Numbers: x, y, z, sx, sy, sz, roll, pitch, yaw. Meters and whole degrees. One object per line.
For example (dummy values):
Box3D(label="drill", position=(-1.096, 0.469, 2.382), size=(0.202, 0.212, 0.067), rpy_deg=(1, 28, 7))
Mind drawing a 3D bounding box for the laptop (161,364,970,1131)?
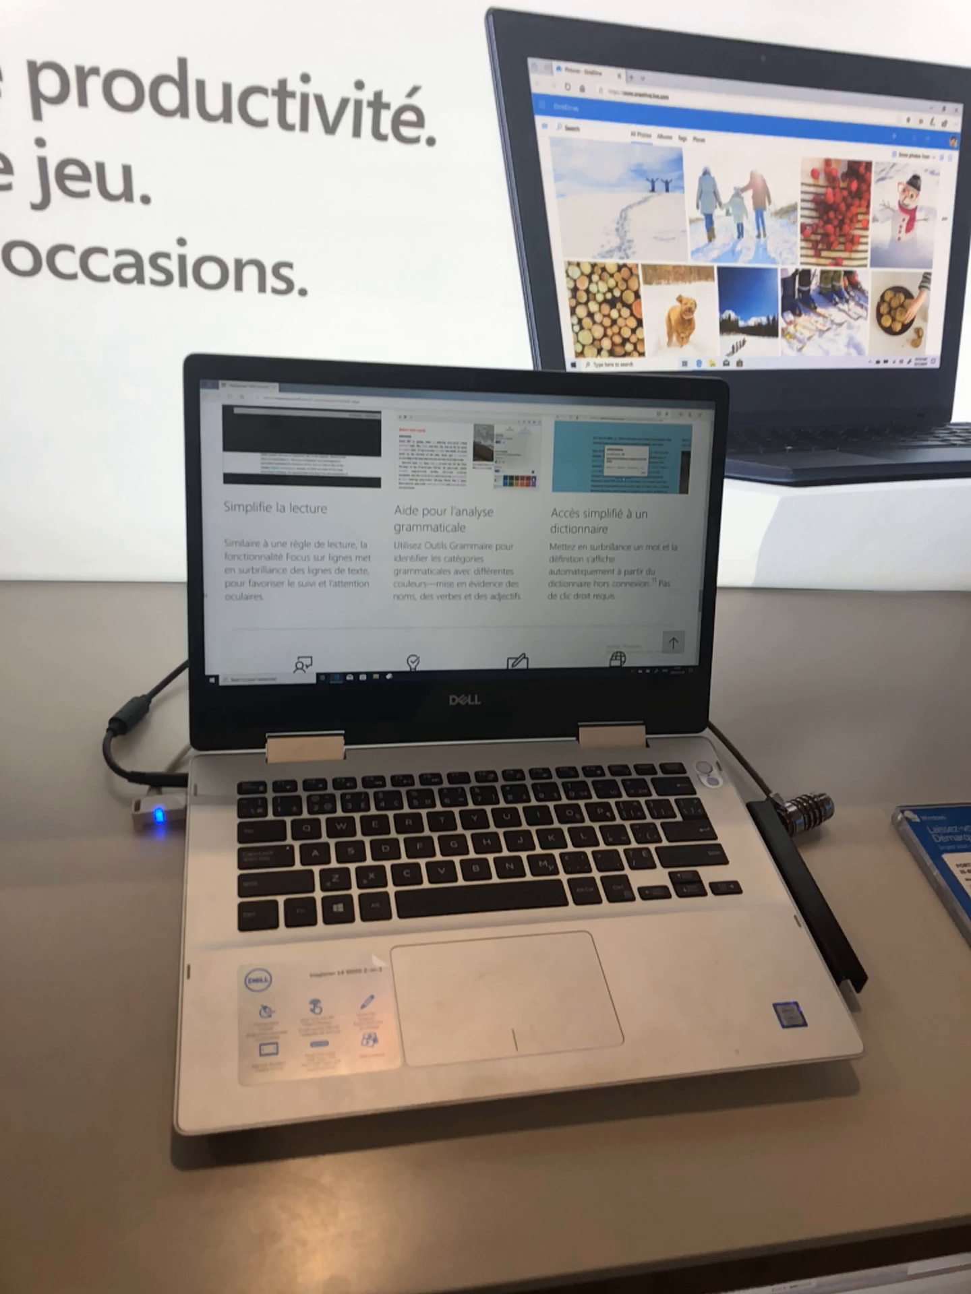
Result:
Box3D(label="laptop", position=(0.009, 0.020, 0.553), size=(0.316, 0.193, 0.338), rpy_deg=(-1, 38, -13))
